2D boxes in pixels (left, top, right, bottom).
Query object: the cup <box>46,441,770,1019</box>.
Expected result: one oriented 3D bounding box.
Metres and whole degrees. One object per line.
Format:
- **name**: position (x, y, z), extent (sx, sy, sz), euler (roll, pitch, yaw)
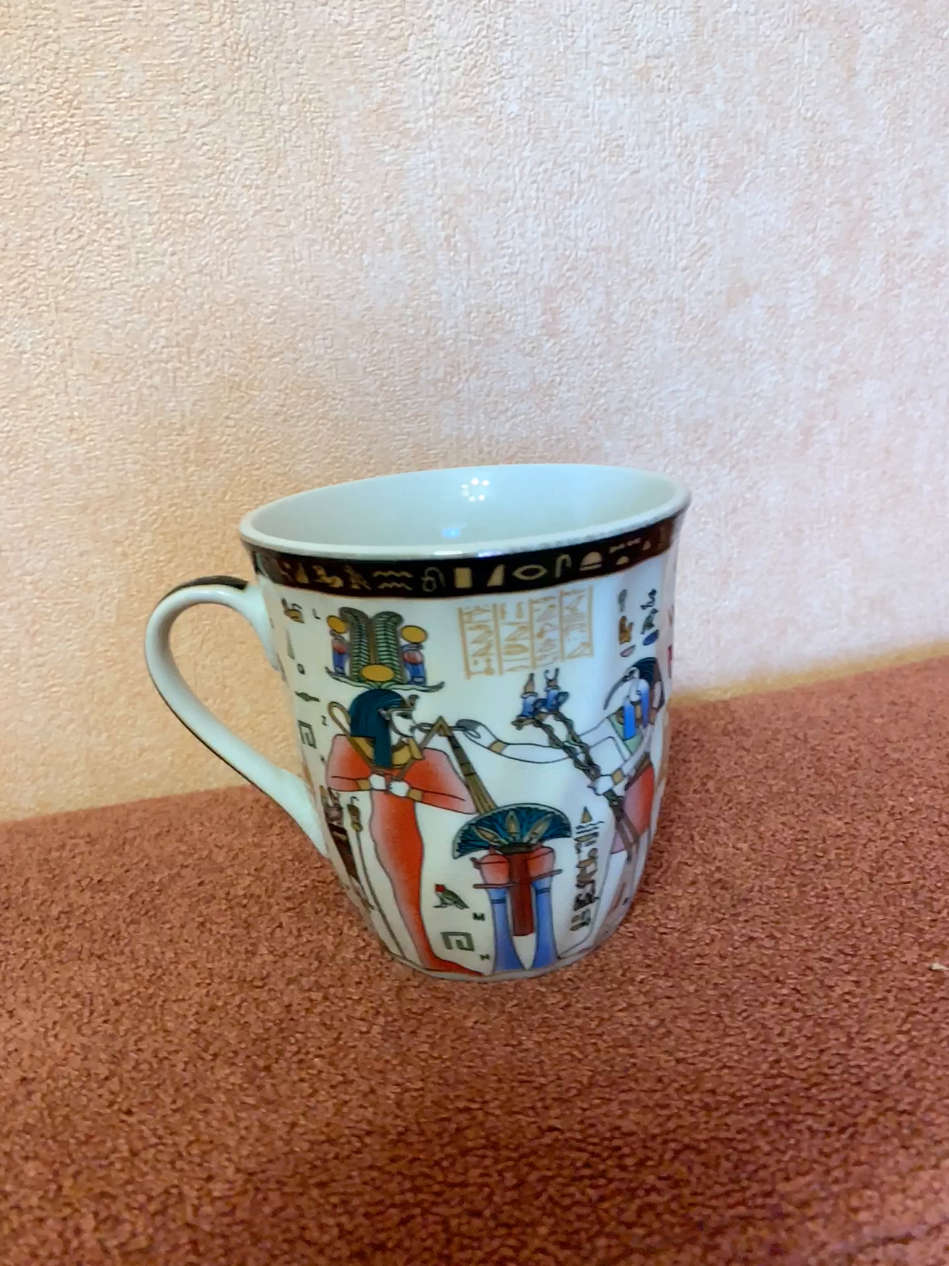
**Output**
- **cup**: position (-0.005, 0.014, 0.209), extent (0.115, 0.087, 0.086), euler (-2, 20, 8)
